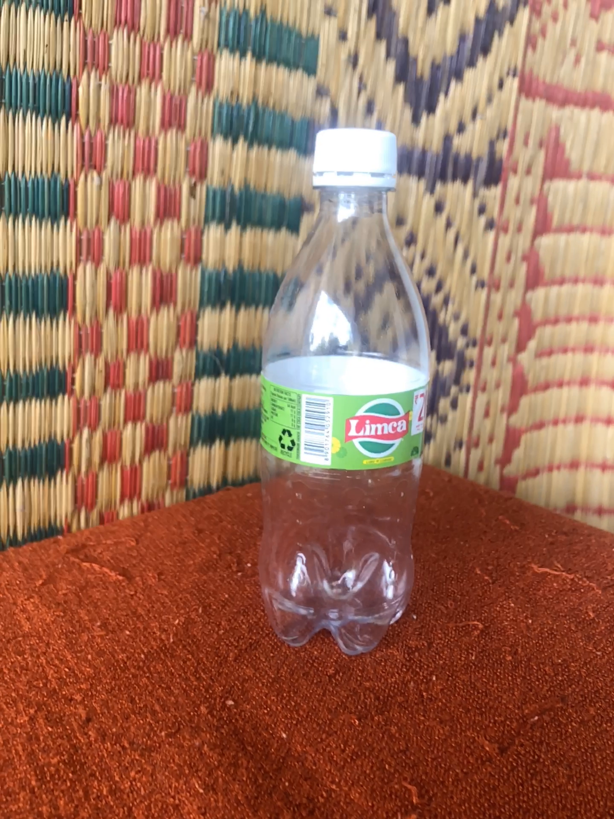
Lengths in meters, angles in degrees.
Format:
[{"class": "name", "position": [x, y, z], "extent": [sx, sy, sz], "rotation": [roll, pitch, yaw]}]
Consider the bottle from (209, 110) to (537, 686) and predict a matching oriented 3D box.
[{"class": "bottle", "position": [0.014, -0.006, 0.212], "extent": [0.060, 0.149, 0.060], "rotation": [5, 16, -1]}]
